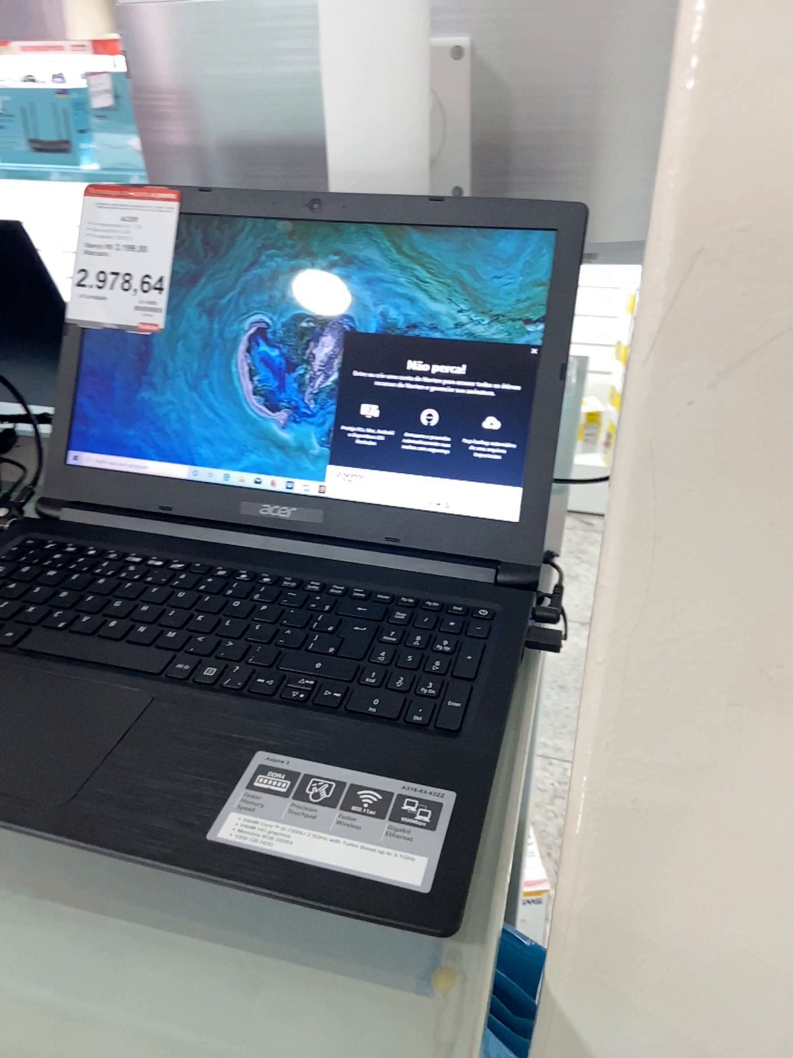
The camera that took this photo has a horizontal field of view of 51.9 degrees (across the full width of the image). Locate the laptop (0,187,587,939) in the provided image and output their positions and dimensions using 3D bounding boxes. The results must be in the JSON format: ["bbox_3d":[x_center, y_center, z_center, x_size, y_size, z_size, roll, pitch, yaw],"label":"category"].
[{"bbox_3d":[-0.105,-0.052,0.460,0.369,0.205,0.377,8,31,14],"label":"laptop"}]
